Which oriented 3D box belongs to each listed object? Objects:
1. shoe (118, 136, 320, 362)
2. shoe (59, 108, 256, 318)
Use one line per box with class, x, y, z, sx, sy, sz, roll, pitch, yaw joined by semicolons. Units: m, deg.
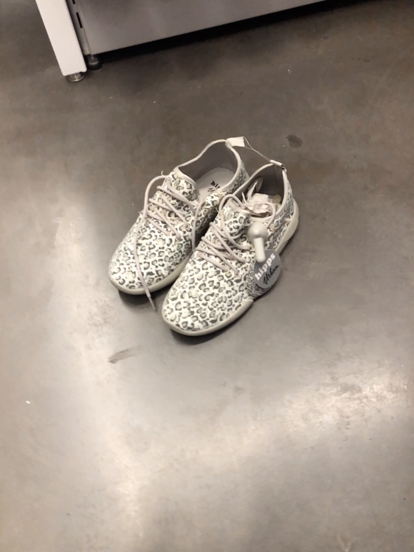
shoe;0.022;-0.037;0.556;0.100;0.100;0.251;32;67;18
shoe;-0.051;-0.086;0.589;0.100;0.100;0.251;32;67;18
